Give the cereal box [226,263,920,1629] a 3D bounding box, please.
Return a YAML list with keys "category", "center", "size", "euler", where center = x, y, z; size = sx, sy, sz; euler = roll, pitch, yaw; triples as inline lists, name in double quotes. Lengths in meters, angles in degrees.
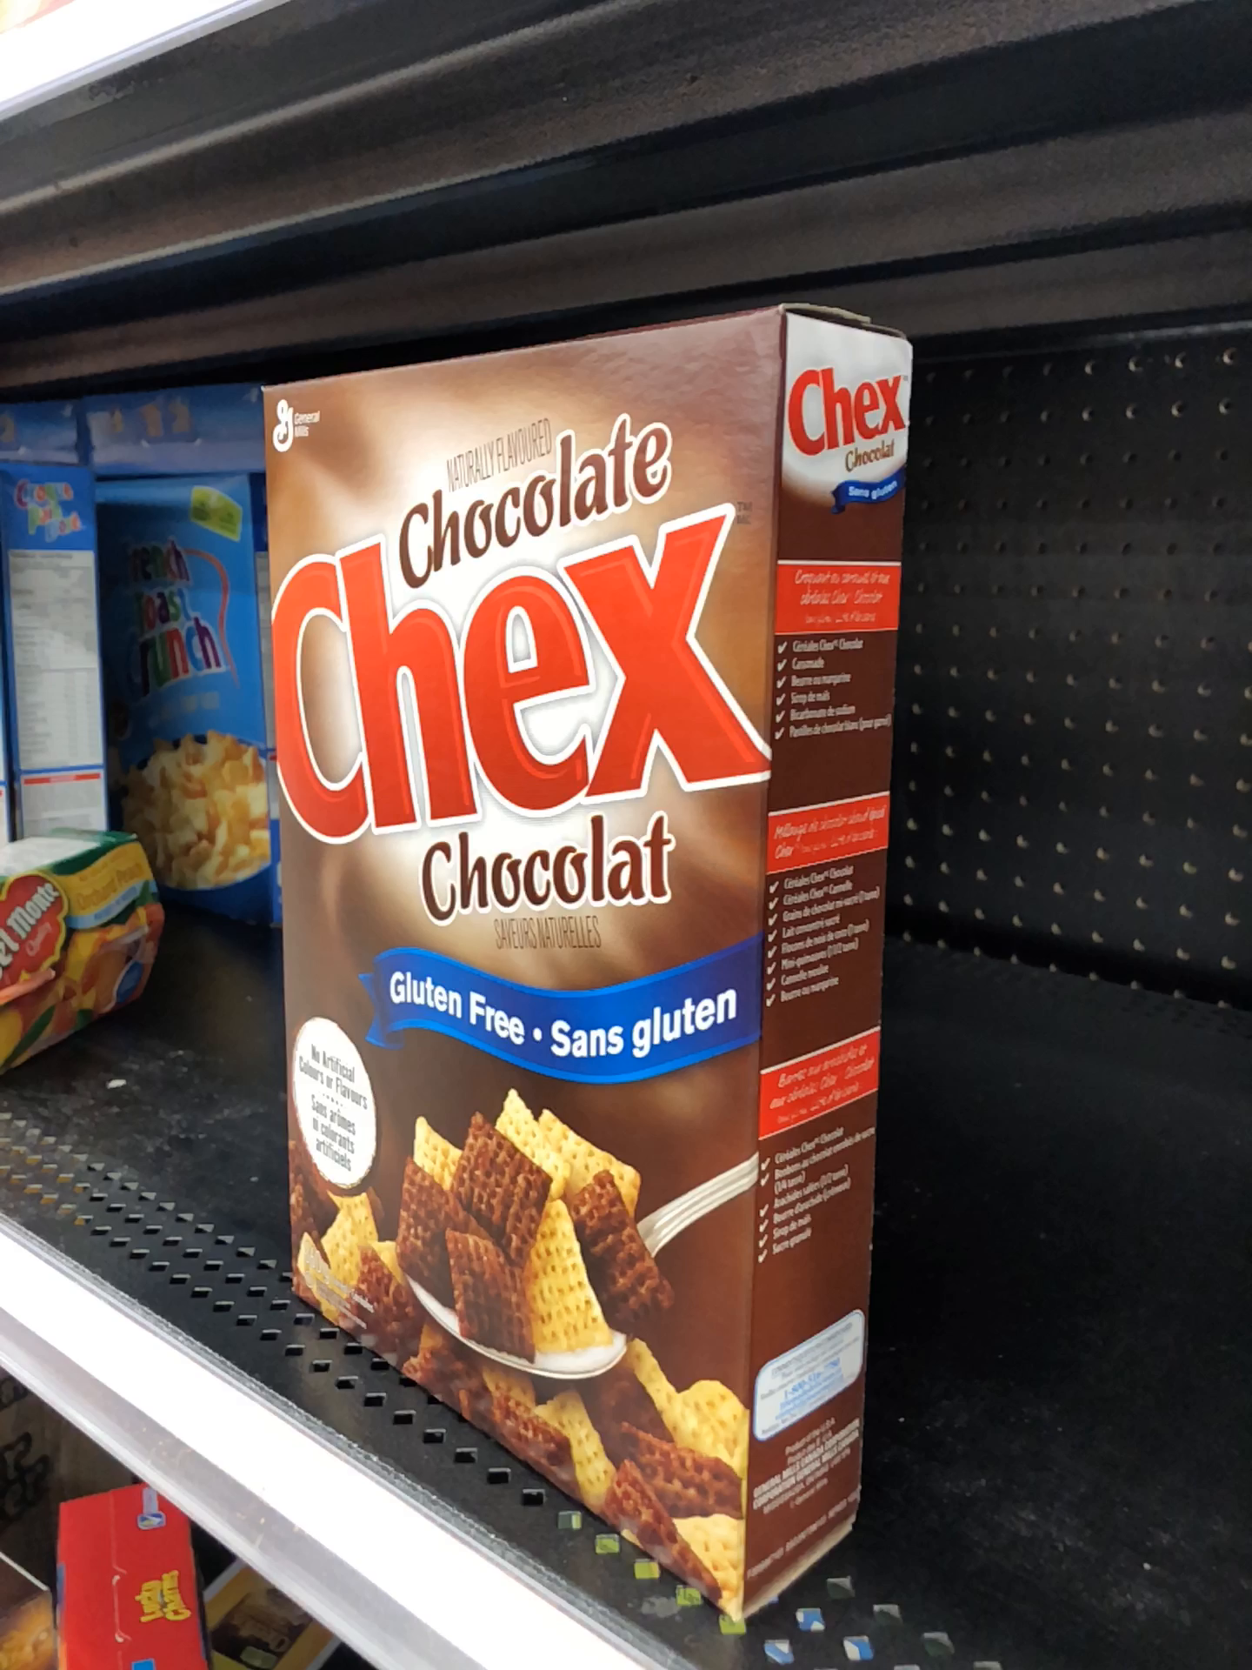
- category: "cereal box"
  center: [-0.027, 0.016, 0.363]
  size: [0.050, 0.279, 0.200]
  euler: [-9, 14, -42]
